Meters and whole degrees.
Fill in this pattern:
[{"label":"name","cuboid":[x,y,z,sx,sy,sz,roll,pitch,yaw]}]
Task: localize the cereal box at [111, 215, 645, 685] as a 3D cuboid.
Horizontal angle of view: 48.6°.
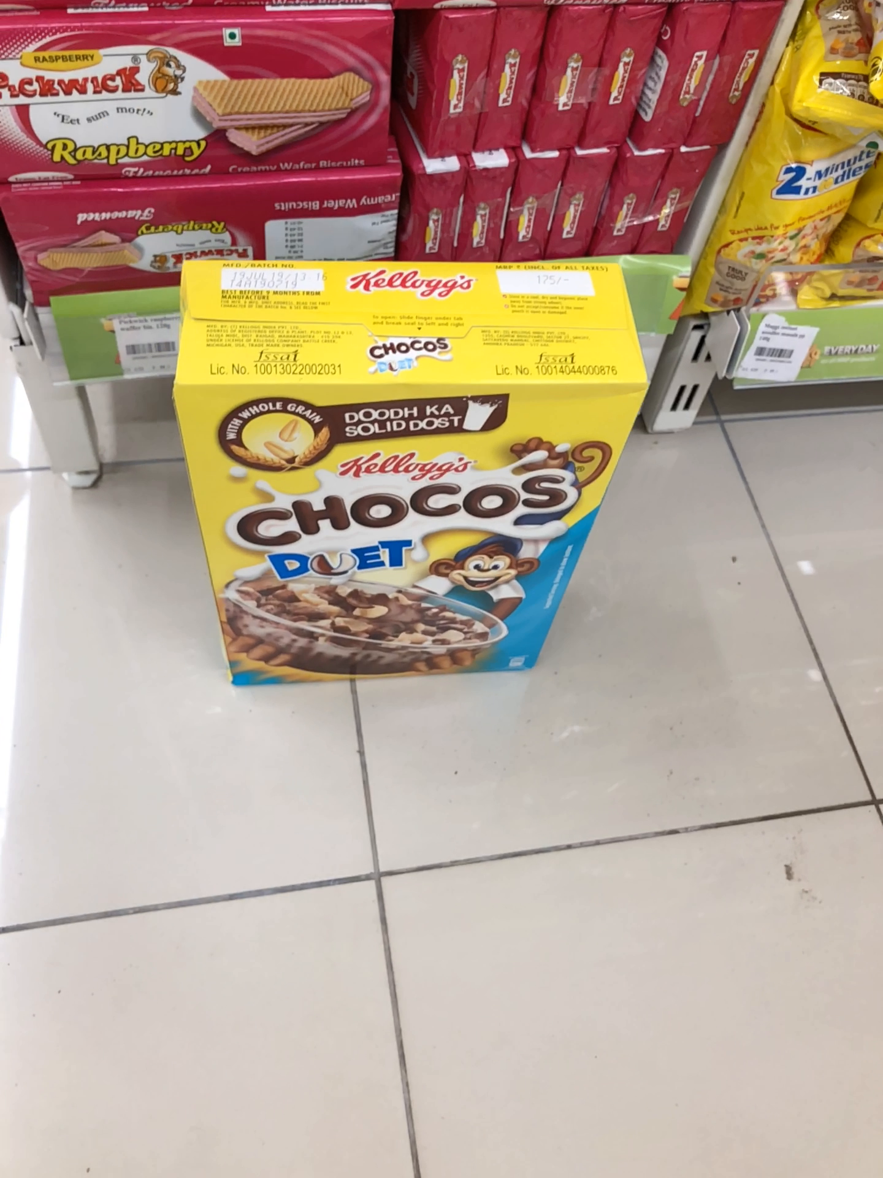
[{"label":"cereal box","cuboid":[-0.034,-0.048,0.475,0.190,0.259,0.070,-3,58,-8]}]
